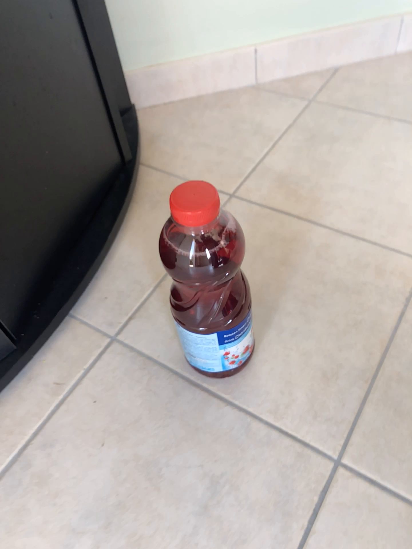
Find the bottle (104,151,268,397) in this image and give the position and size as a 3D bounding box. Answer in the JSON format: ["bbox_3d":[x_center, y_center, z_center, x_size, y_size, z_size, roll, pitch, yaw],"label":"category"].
[{"bbox_3d":[-0.003,0.013,0.459,0.100,0.239,0.091,23,58,24],"label":"bottle"}]
